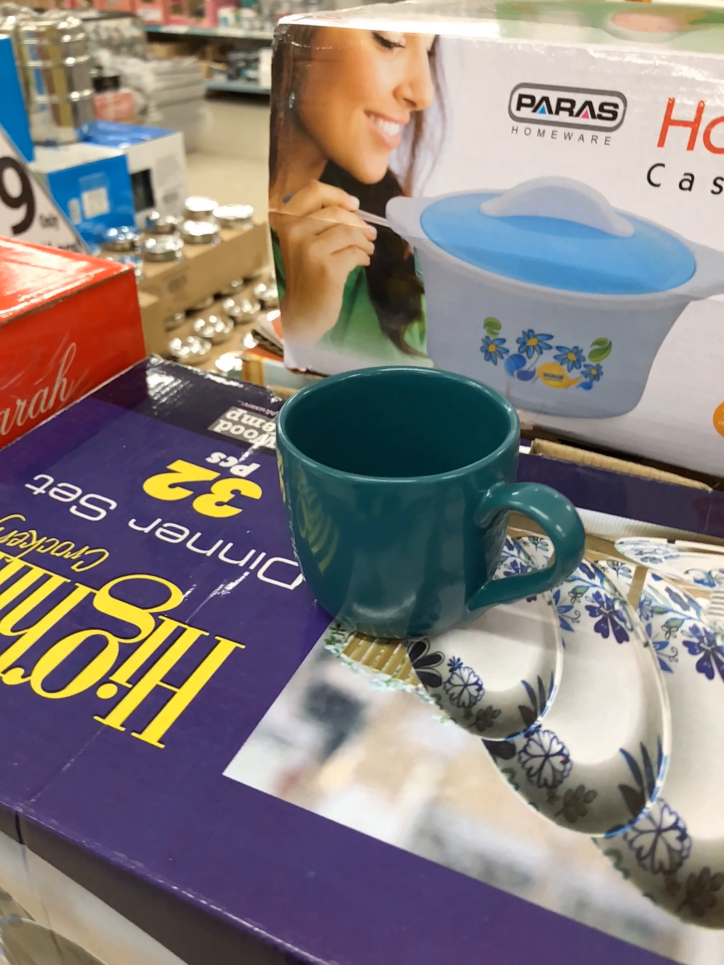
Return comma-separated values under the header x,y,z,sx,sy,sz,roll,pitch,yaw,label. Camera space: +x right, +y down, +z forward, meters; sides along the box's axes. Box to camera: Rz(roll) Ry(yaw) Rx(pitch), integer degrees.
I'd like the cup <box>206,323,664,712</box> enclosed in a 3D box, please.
x,y,z,sx,sy,sz,roll,pitch,yaw,label
0.018,0.003,0.200,0.090,0.050,0.060,16,36,21,cup
